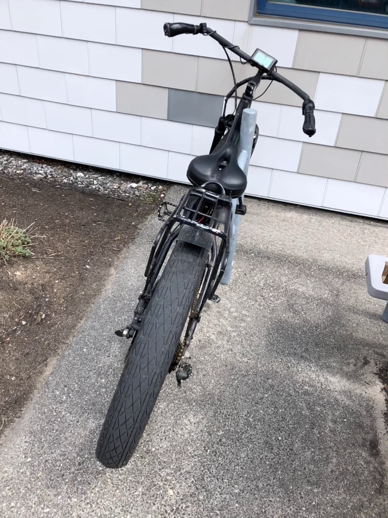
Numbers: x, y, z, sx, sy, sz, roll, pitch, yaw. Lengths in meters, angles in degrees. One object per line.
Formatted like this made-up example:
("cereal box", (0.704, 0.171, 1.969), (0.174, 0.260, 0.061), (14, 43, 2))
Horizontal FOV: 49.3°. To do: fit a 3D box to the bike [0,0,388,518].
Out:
("bike", (0.196, -0.303, 1.847), (0.876, 1.170, 2.126), (12, 37, 10))
